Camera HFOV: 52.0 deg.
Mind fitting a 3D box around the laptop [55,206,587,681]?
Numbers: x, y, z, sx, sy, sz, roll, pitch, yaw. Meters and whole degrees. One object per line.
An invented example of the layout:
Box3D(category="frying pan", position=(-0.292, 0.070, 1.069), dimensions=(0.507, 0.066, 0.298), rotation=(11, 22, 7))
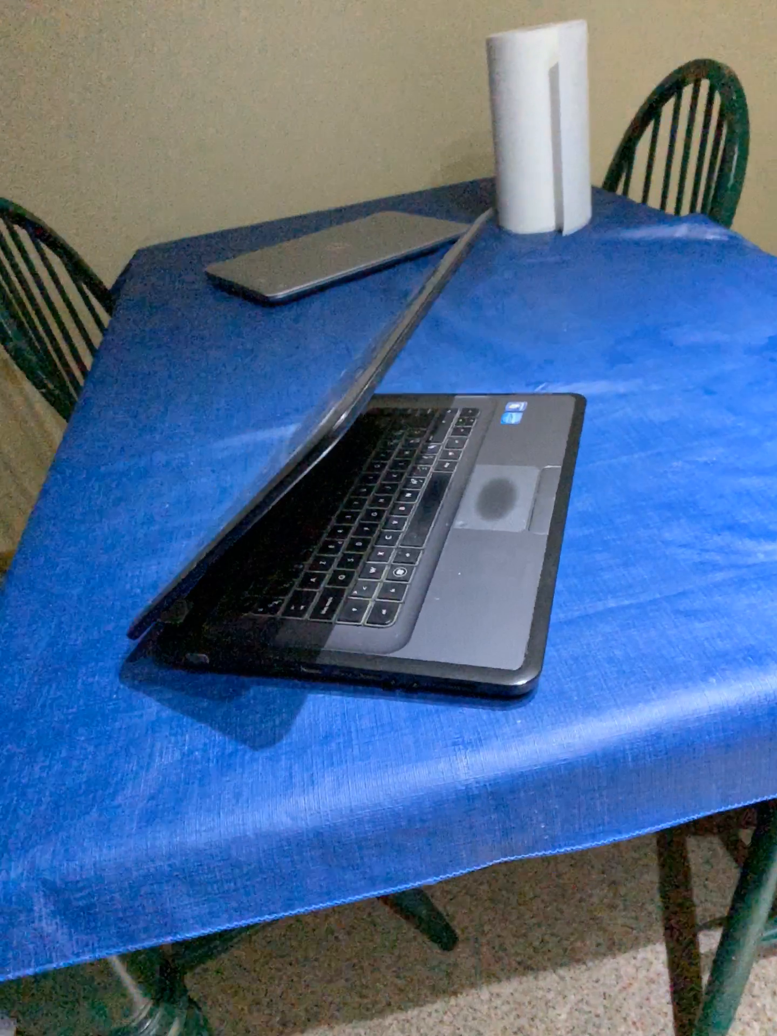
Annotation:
Box3D(category="laptop", position=(0.001, -0.083, 0.563), dimensions=(0.243, 0.160, 0.364), rotation=(1, 33, 18))
